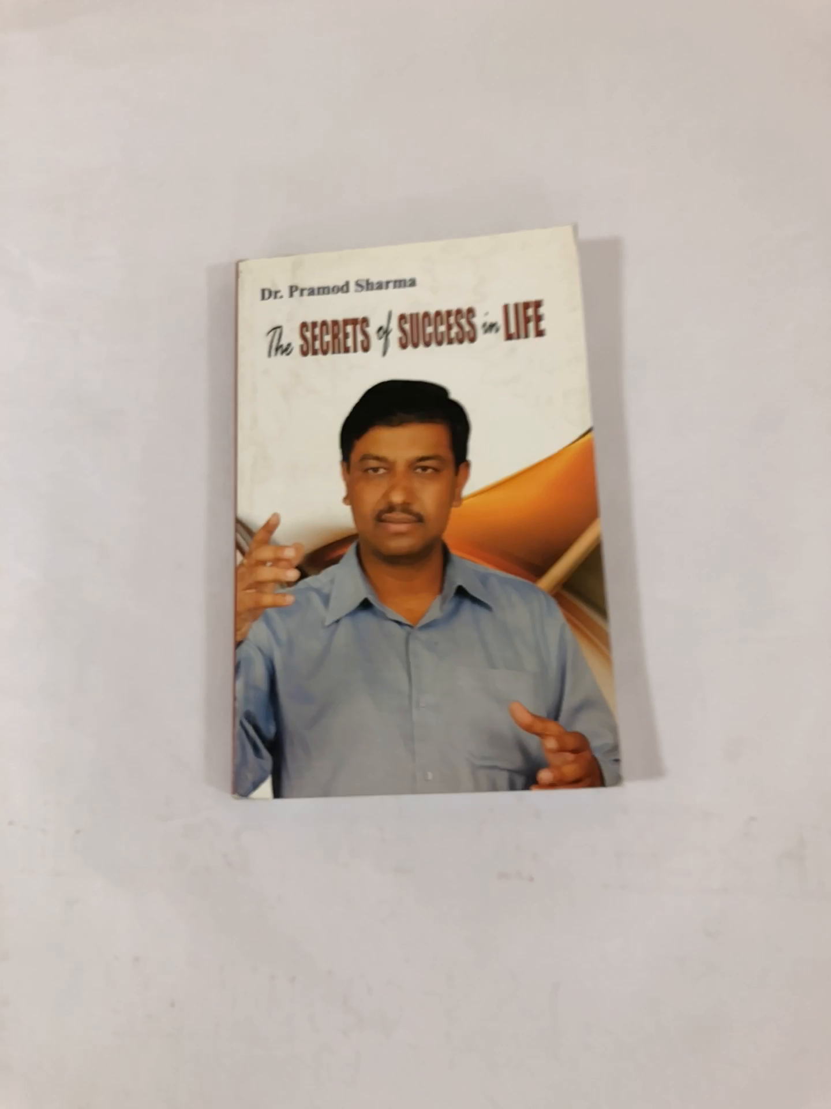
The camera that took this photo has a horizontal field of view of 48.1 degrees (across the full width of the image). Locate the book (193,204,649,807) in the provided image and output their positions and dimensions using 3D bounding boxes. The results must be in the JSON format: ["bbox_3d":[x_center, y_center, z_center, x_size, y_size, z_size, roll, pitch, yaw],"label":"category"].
[{"bbox_3d":[-0.005,-0.021,0.339,0.150,0.020,0.210,-4,76,5],"label":"book"}]
